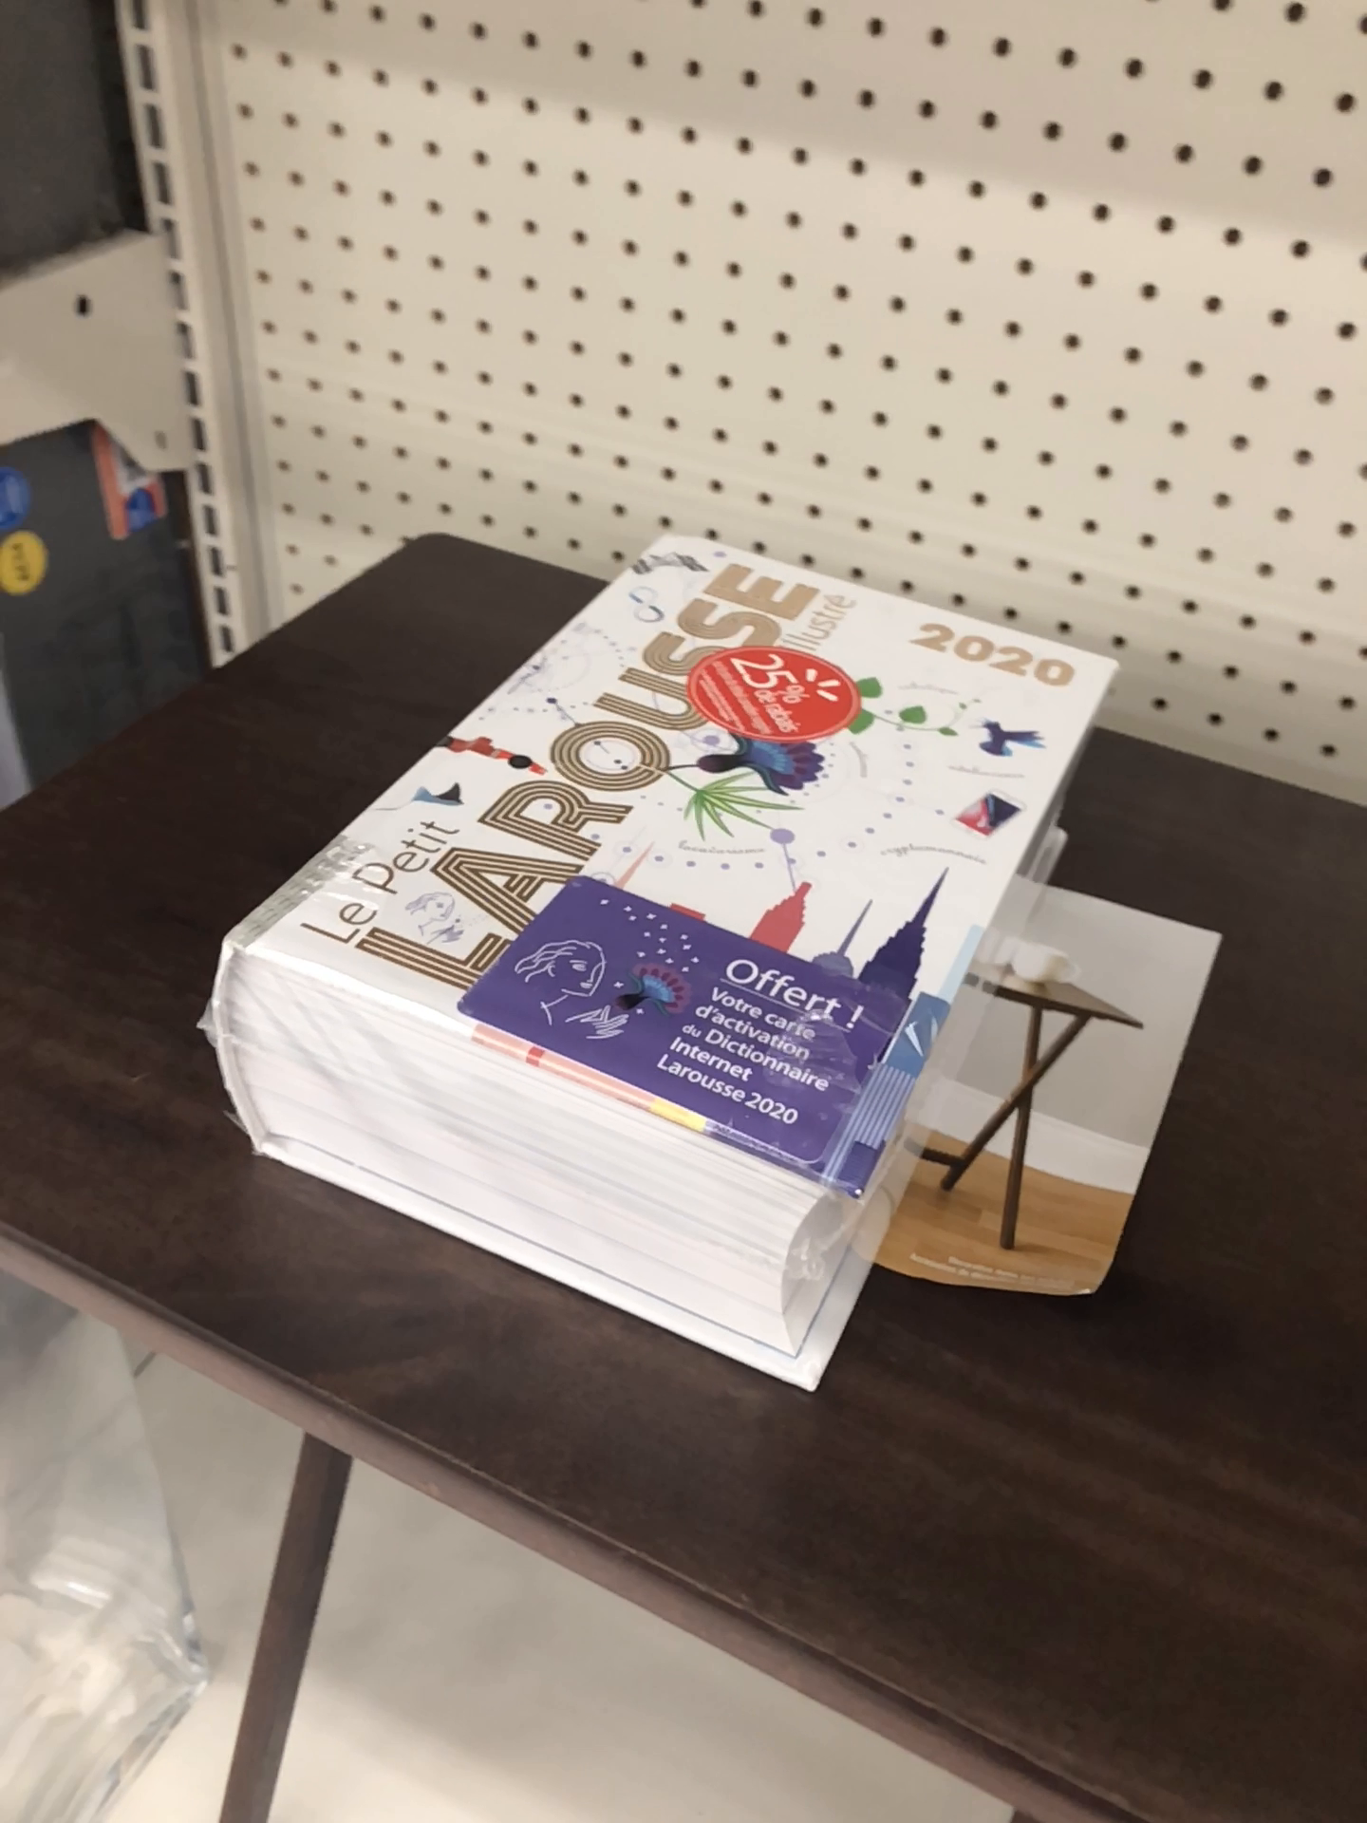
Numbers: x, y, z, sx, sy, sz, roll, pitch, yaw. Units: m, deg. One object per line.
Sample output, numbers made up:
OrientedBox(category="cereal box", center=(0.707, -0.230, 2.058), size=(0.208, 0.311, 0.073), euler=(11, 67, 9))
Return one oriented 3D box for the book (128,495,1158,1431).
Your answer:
OrientedBox(category="book", center=(0.008, -0.013, 0.395), size=(0.170, 0.069, 0.232), euler=(19, 42, 16))
